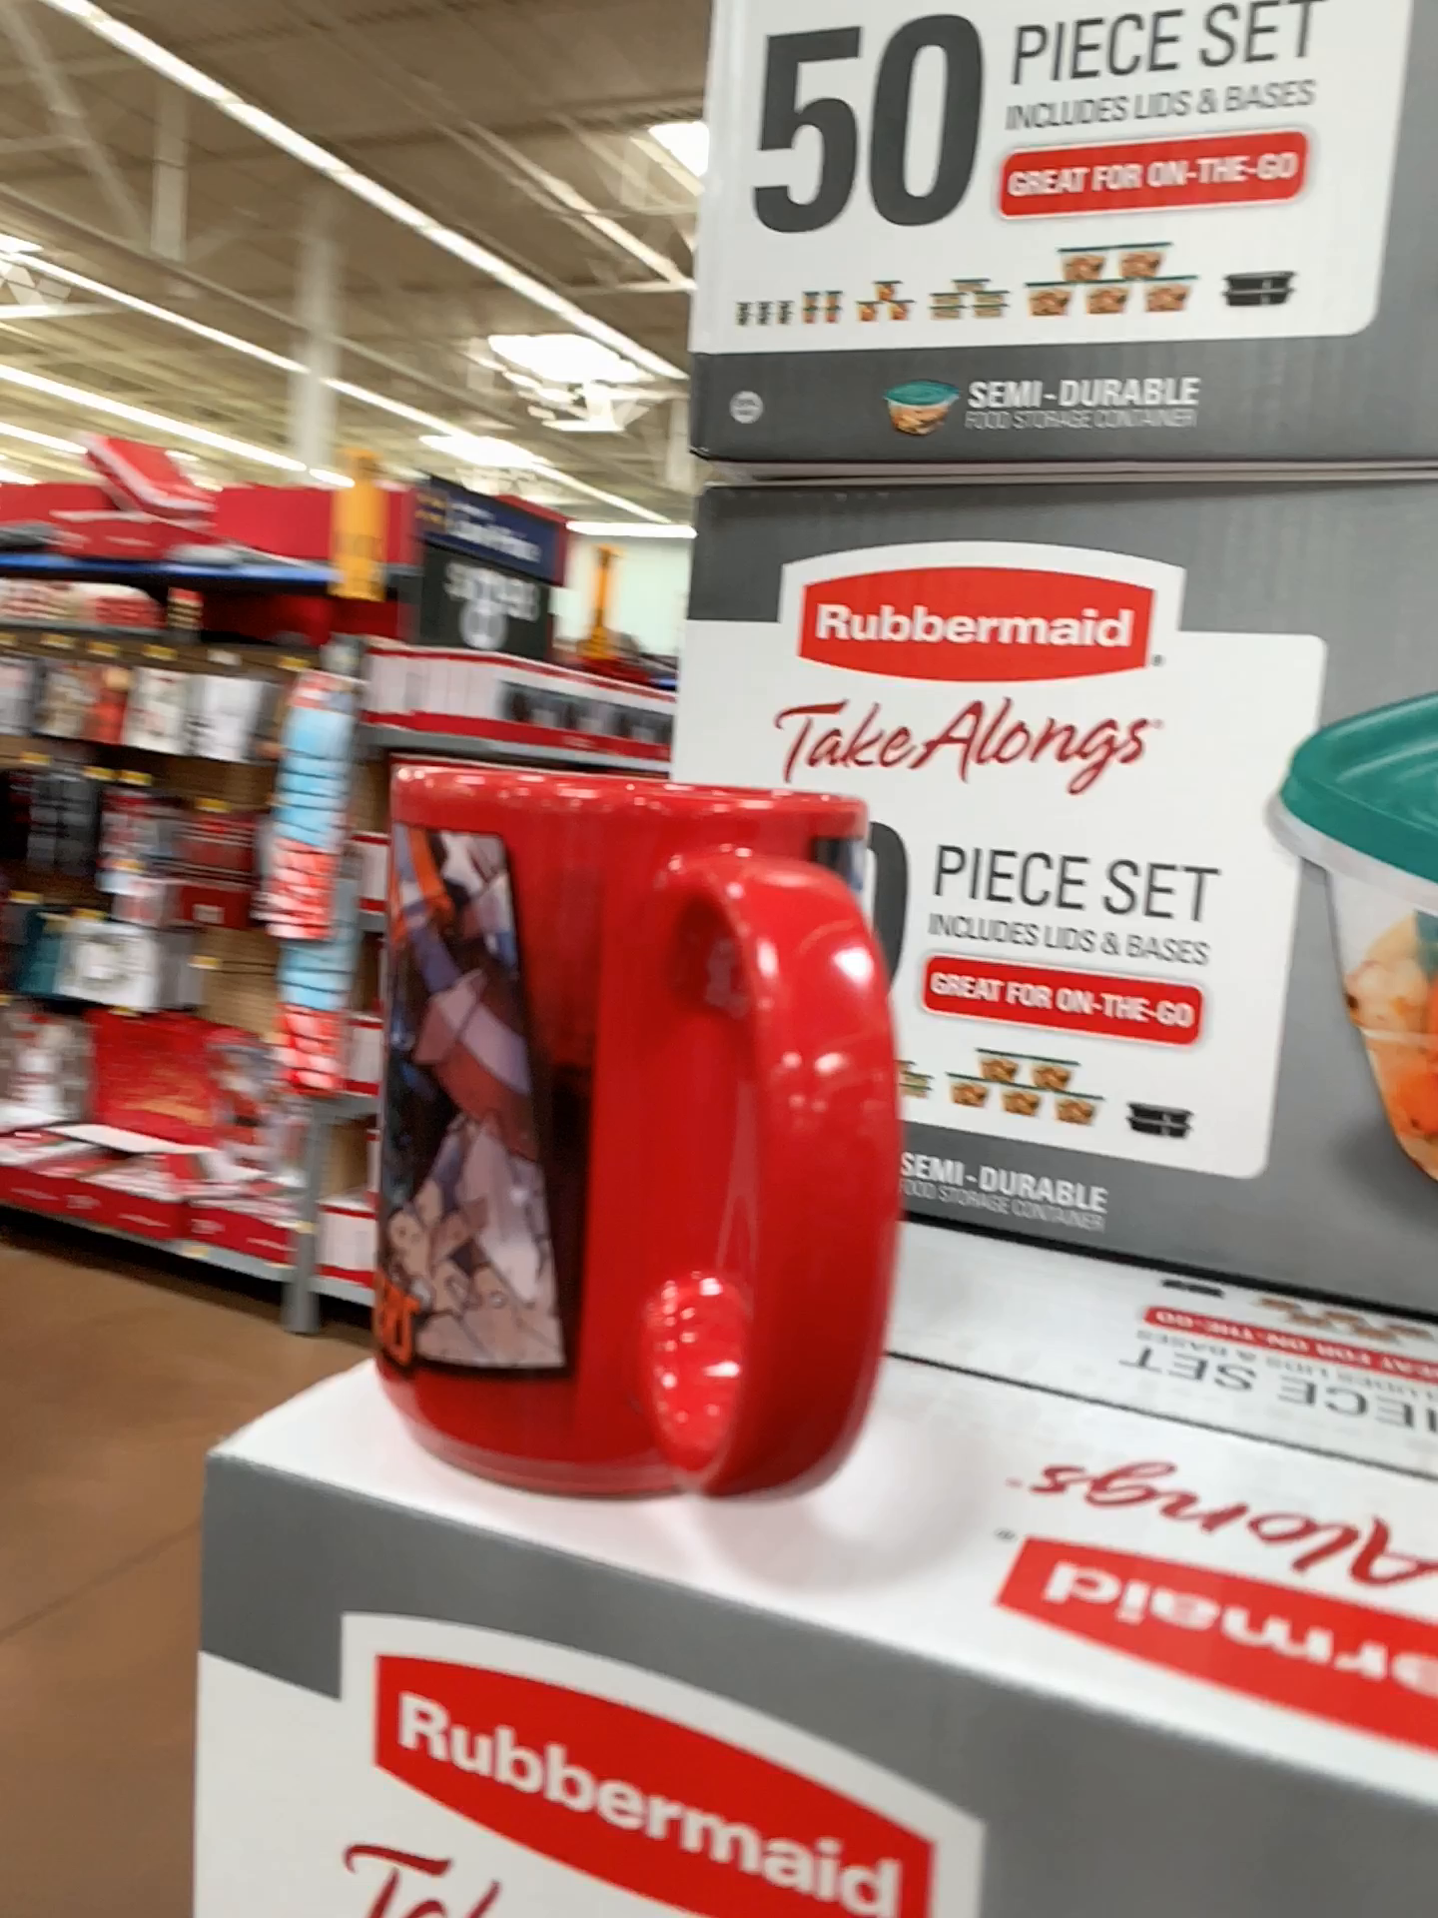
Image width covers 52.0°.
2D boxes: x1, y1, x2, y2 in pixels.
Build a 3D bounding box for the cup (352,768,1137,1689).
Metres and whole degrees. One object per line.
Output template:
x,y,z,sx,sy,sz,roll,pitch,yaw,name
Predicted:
-0.008,0.026,0.250,0.100,0.114,0.119,-2,8,-15,cup
